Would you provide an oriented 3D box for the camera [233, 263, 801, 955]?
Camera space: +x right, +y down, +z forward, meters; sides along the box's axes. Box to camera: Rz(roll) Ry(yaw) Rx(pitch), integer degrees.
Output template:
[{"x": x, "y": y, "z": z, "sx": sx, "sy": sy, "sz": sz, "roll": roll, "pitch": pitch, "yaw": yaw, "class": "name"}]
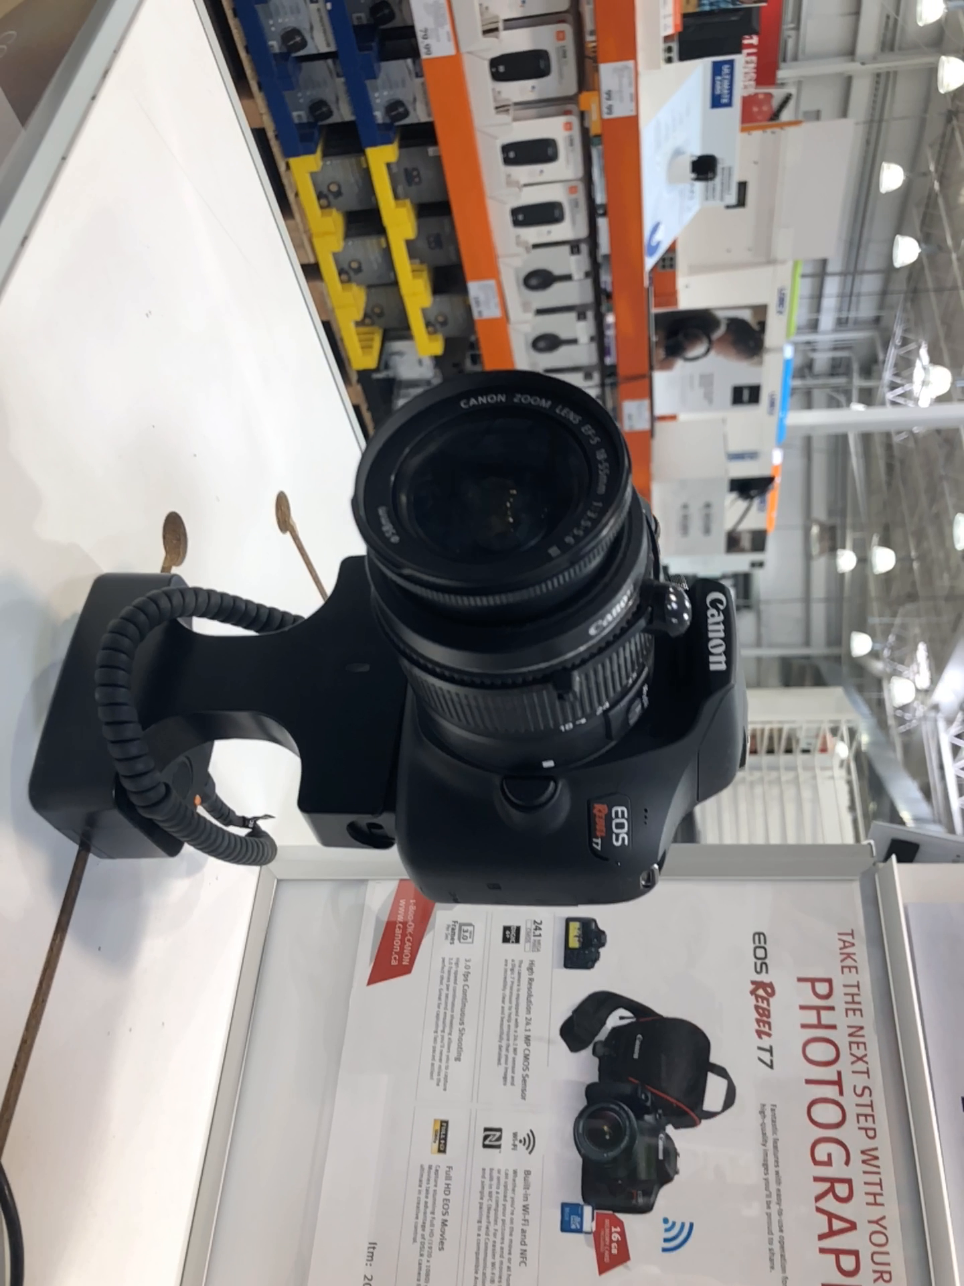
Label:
[{"x": 0.021, "y": 0.002, "z": 0.301, "sx": 0.150, "sy": 0.110, "sz": 0.130, "roll": 73, "pitch": 19, "yaw": -59, "class": "camera"}]
